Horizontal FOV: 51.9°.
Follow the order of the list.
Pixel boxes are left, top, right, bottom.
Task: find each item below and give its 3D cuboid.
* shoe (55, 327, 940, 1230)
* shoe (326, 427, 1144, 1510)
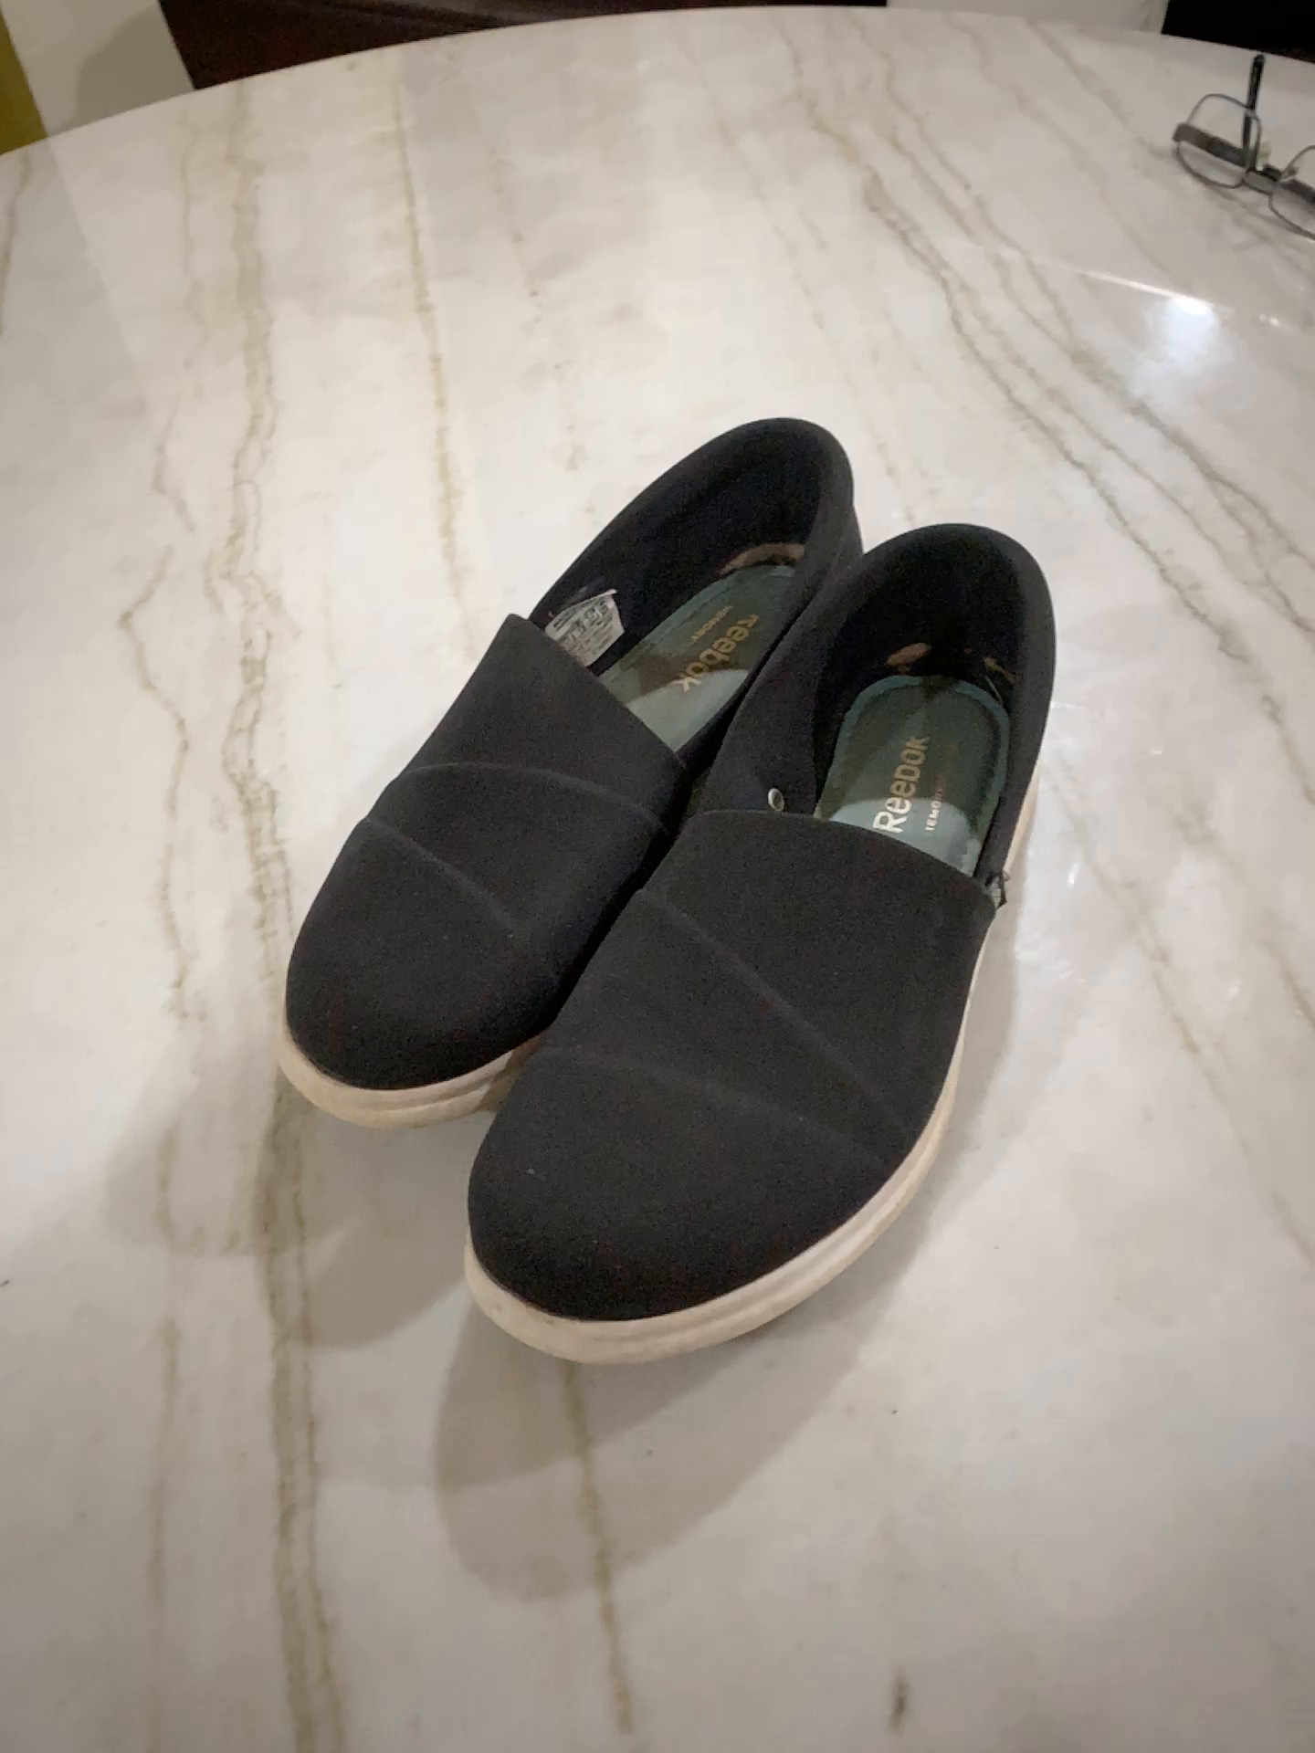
[{"bbox_3d":[-0.021,-0.041,0.348,0.091,0.078,0.230,24,56,22],"label":"shoe"},{"bbox_3d":[0.034,0.001,0.309,0.091,0.078,0.231,16,54,18],"label":"shoe"}]
